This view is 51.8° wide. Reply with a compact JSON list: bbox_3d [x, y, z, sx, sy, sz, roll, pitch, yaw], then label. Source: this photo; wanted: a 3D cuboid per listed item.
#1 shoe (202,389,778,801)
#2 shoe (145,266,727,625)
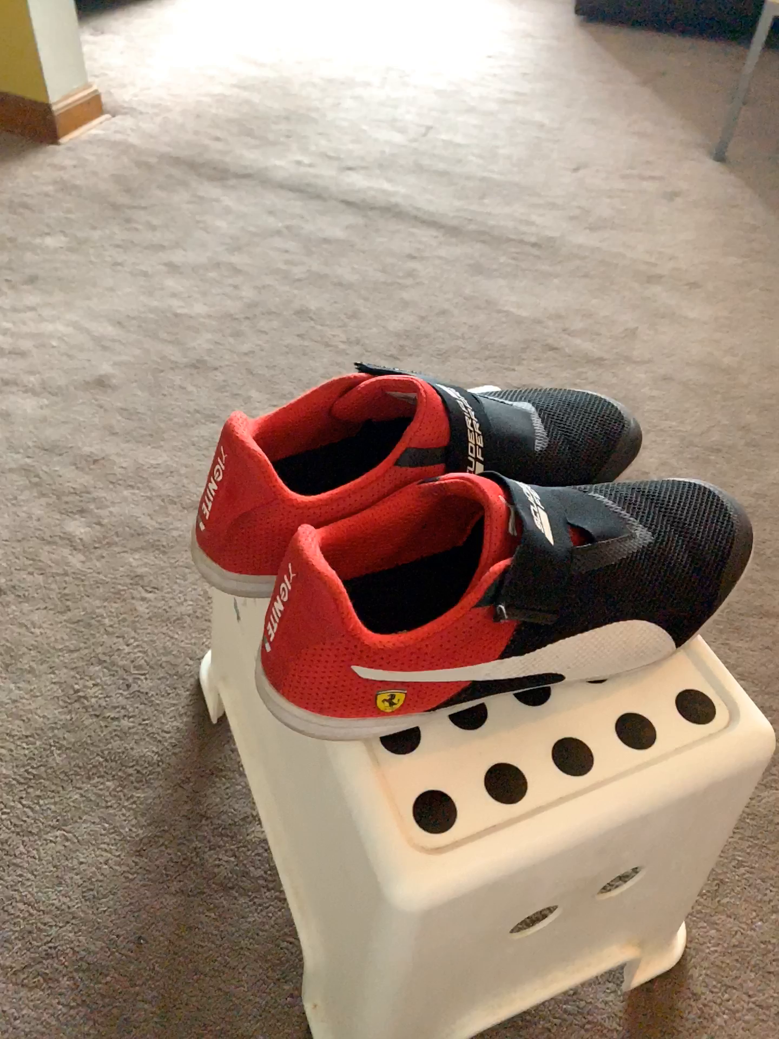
[{"bbox_3d":[0.070,0.027,0.408,0.301,0.089,0.101,-14,50,-18],"label":"shoe"},{"bbox_3d":[0.029,-0.055,0.467,0.301,0.089,0.111,-17,51,-20],"label":"shoe"}]
